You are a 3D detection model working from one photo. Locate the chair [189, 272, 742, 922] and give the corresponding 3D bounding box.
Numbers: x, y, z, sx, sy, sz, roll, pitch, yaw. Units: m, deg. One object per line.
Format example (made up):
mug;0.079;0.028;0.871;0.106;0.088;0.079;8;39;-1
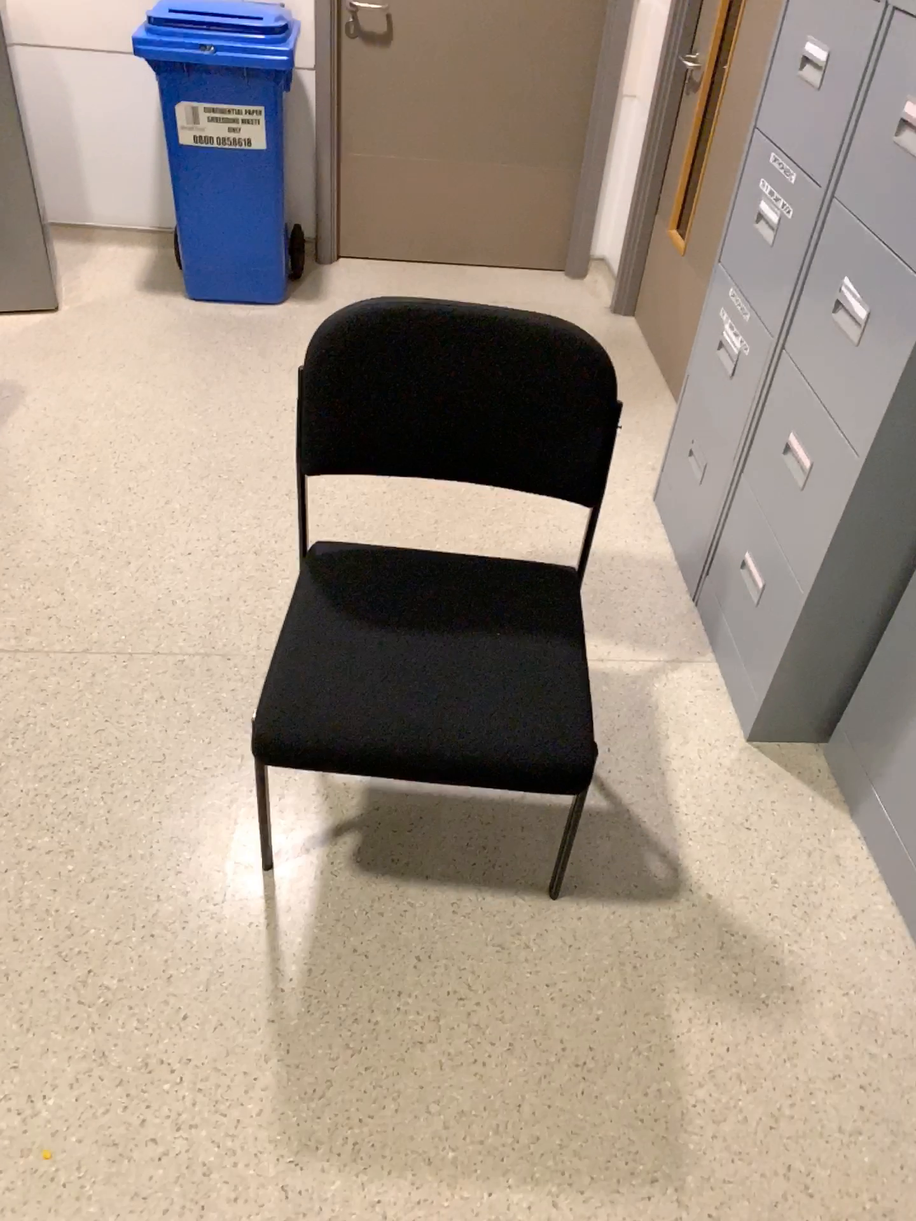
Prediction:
chair;-0.018;-0.003;1.561;0.630;0.851;0.596;5;40;-2
